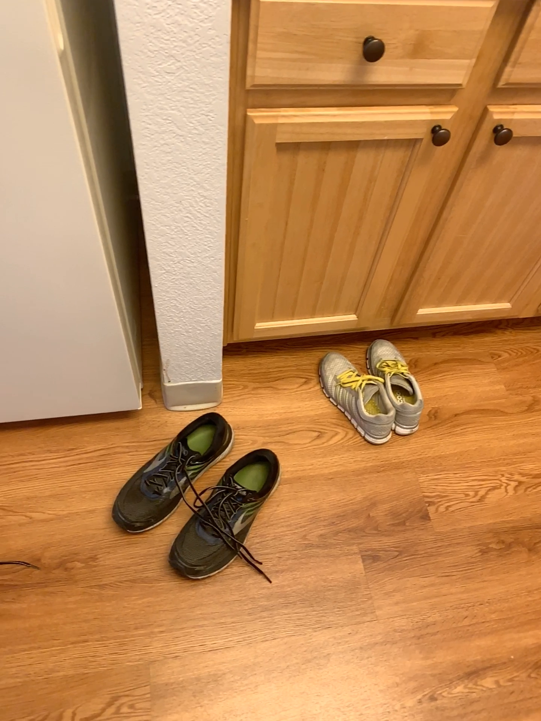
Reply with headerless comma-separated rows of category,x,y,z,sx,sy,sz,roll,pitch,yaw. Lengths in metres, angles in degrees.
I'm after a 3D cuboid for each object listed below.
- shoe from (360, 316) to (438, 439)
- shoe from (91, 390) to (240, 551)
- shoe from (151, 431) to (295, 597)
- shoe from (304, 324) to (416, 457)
shoe,0.303,0.038,1.334,0.100,0.110,0.271,-7,56,-3
shoe,-0.193,0.211,1.075,0.100,0.139,0.281,37,60,18
shoe,-0.087,0.293,1.063,0.110,0.139,0.271,35,59,17
shoe,0.192,0.064,1.245,0.100,0.110,0.271,-27,62,-15
